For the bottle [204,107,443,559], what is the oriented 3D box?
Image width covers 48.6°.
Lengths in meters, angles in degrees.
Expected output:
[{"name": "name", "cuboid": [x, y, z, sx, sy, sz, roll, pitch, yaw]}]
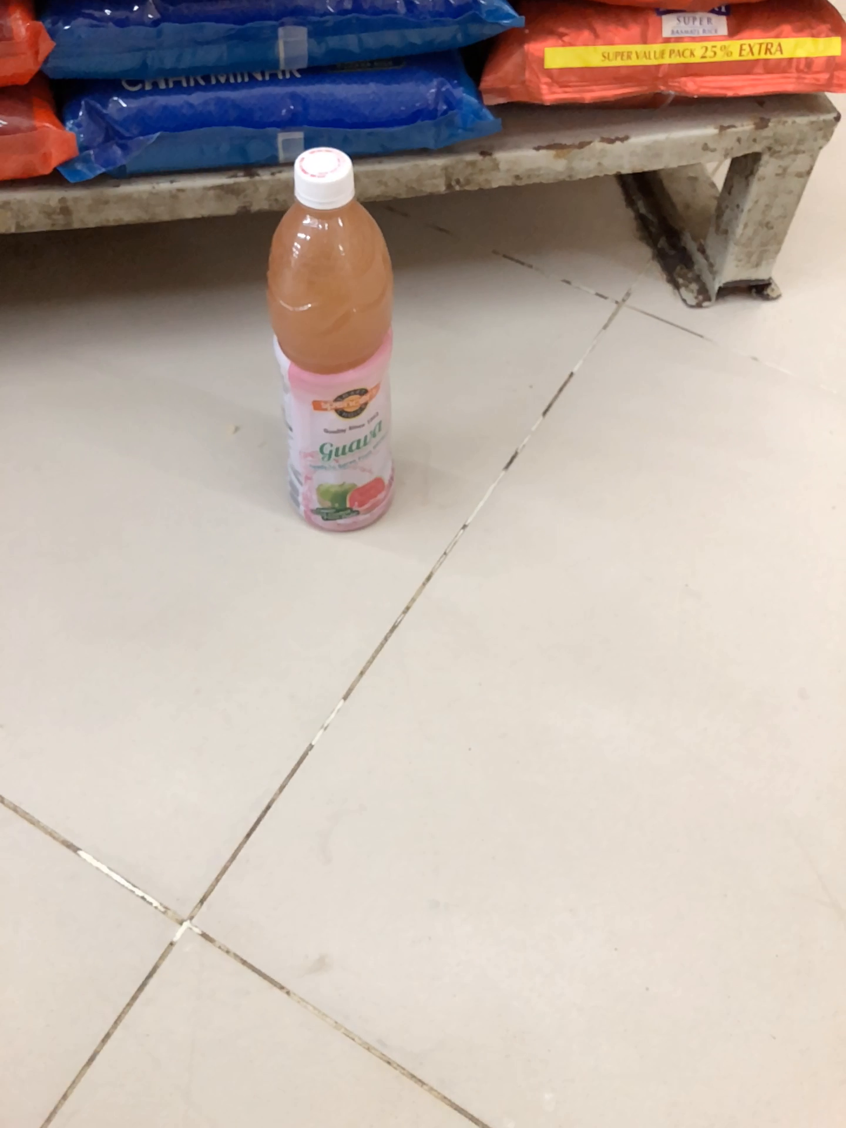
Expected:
[{"name": "bottle", "cuboid": [-0.054, -0.124, 0.576, 0.090, 0.259, 0.090, 1, 58, -1]}]
